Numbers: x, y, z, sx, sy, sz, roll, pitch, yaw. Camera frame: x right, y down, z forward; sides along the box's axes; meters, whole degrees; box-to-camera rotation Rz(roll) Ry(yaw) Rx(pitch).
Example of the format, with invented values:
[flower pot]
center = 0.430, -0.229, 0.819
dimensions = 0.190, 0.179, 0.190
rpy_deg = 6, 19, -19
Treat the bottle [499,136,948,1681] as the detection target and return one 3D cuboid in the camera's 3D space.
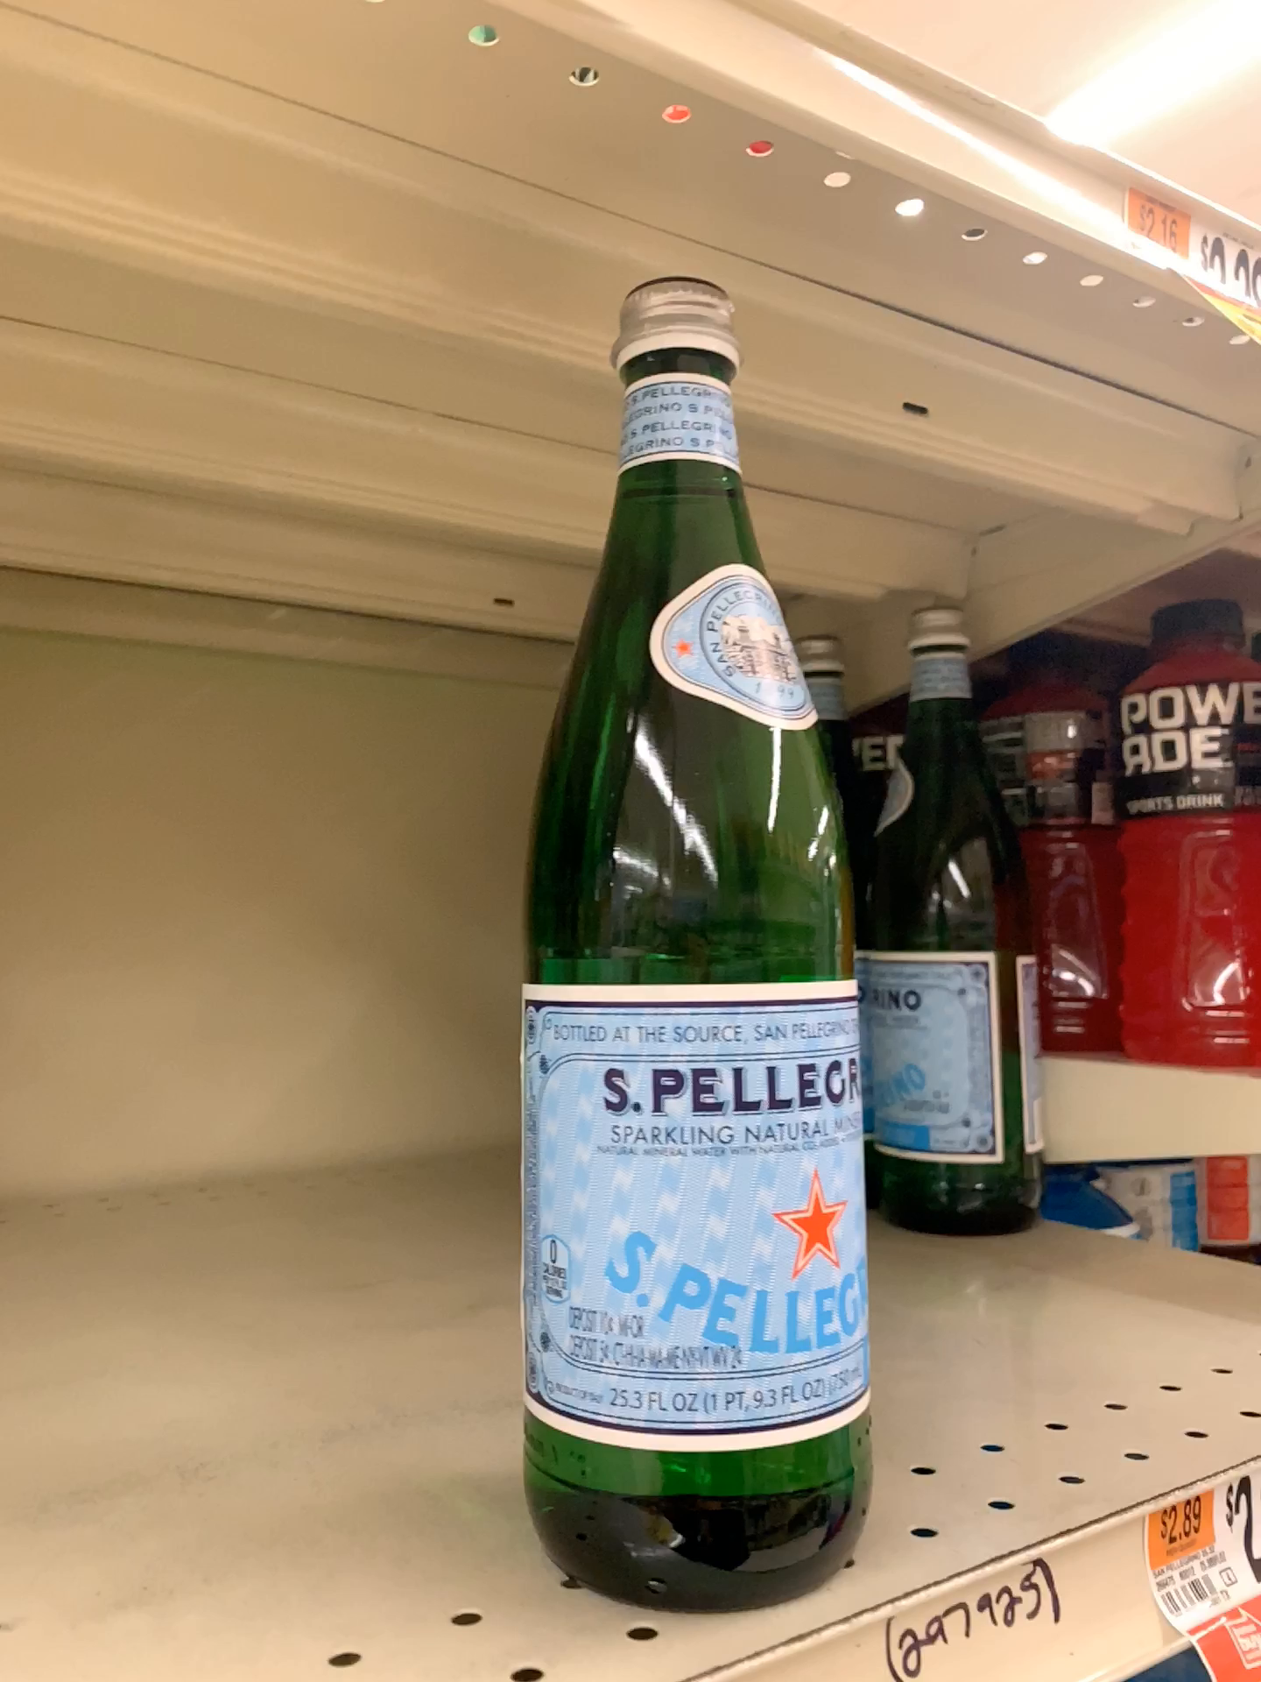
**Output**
[bottle]
center = 0.019, 0.010, 0.301
dimensions = 0.078, 0.302, 0.065
rpy_deg = 2, -4, -26
